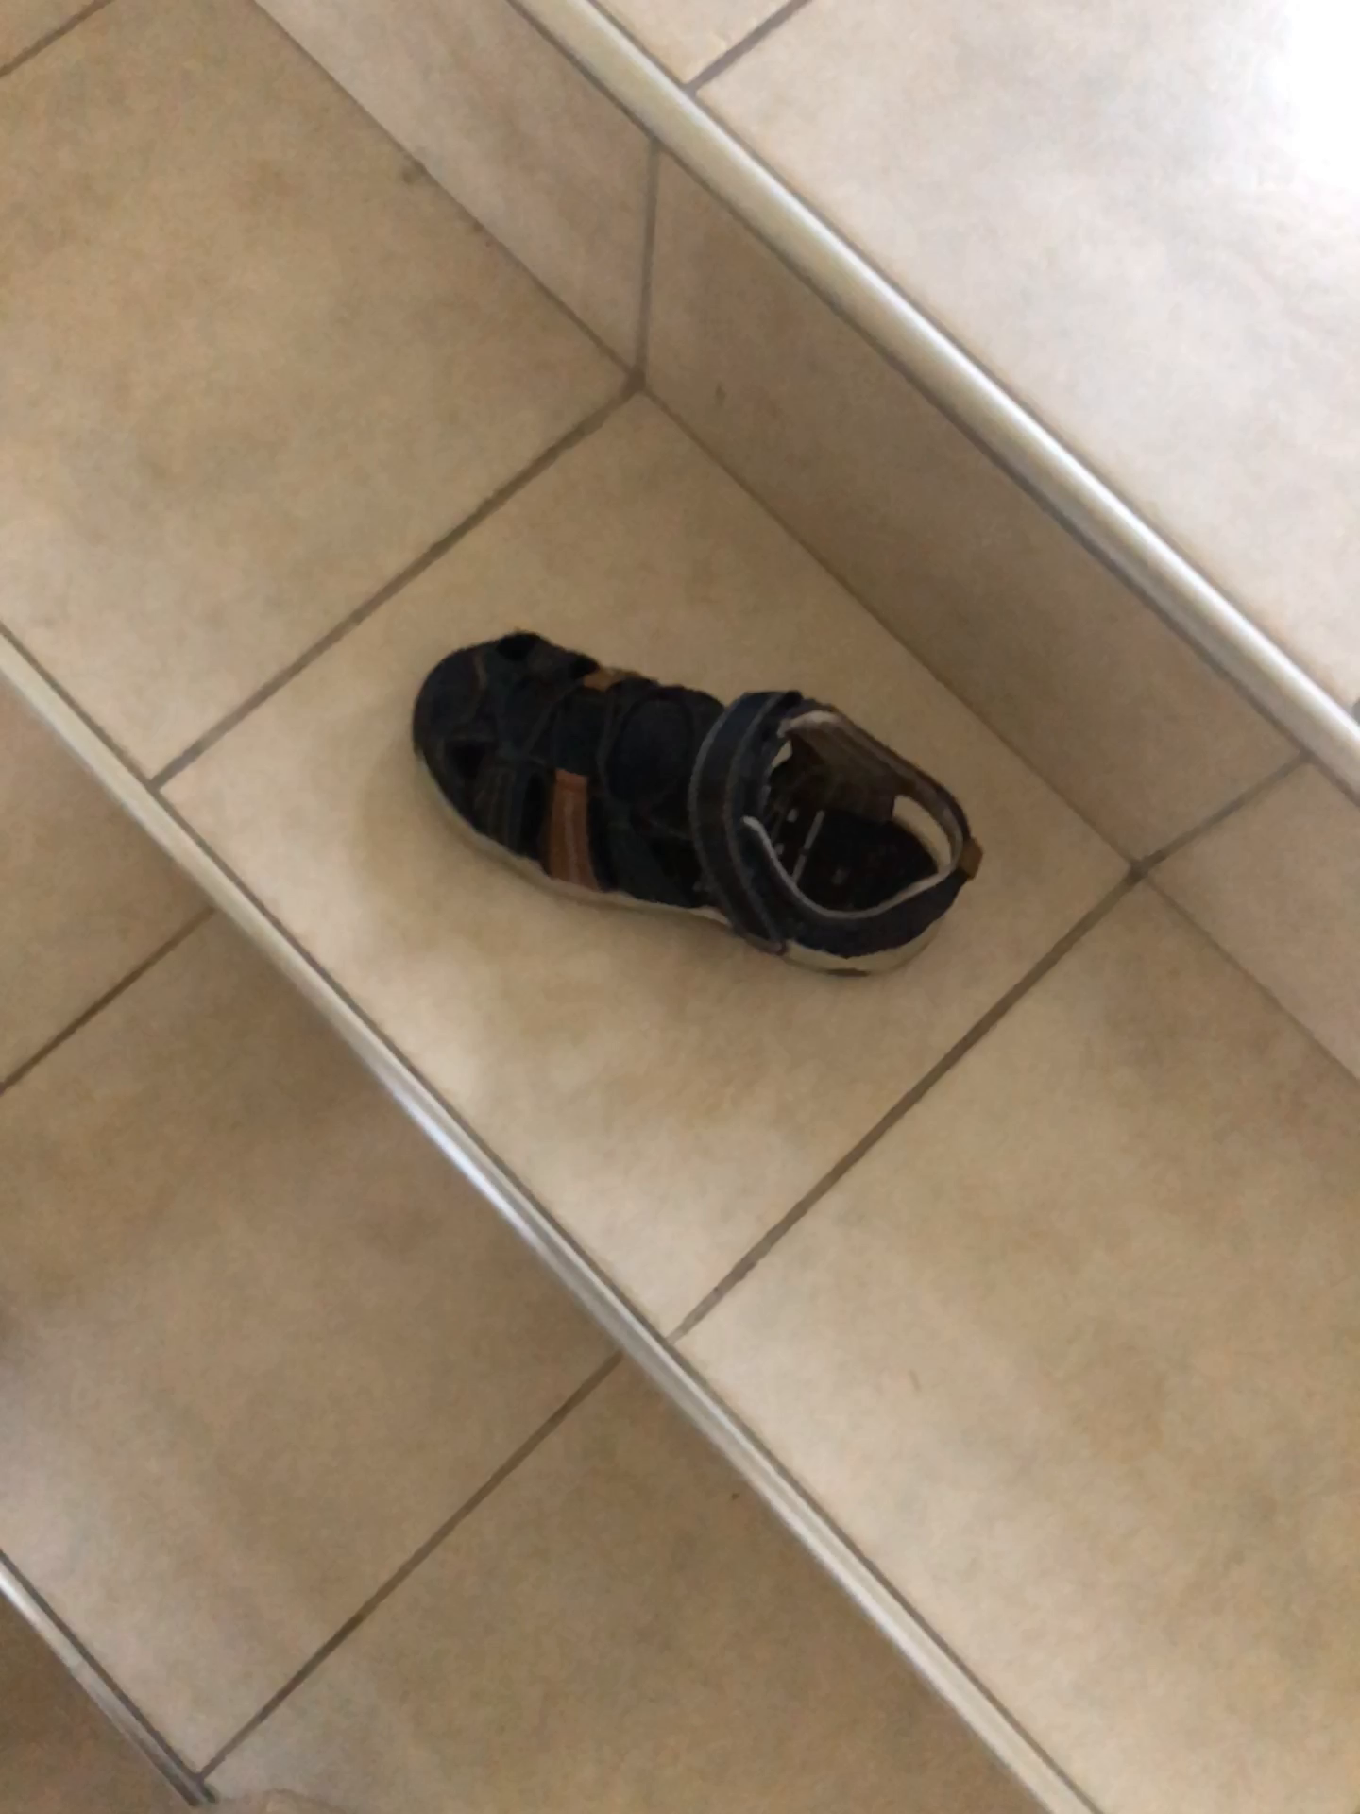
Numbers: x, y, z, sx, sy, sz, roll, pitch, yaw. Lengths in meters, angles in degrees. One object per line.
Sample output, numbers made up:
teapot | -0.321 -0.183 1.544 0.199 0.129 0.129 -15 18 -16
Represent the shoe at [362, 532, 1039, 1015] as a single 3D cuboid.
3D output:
shoe | 0.006 -0.045 0.575 0.220 0.100 0.090 20 77 1
